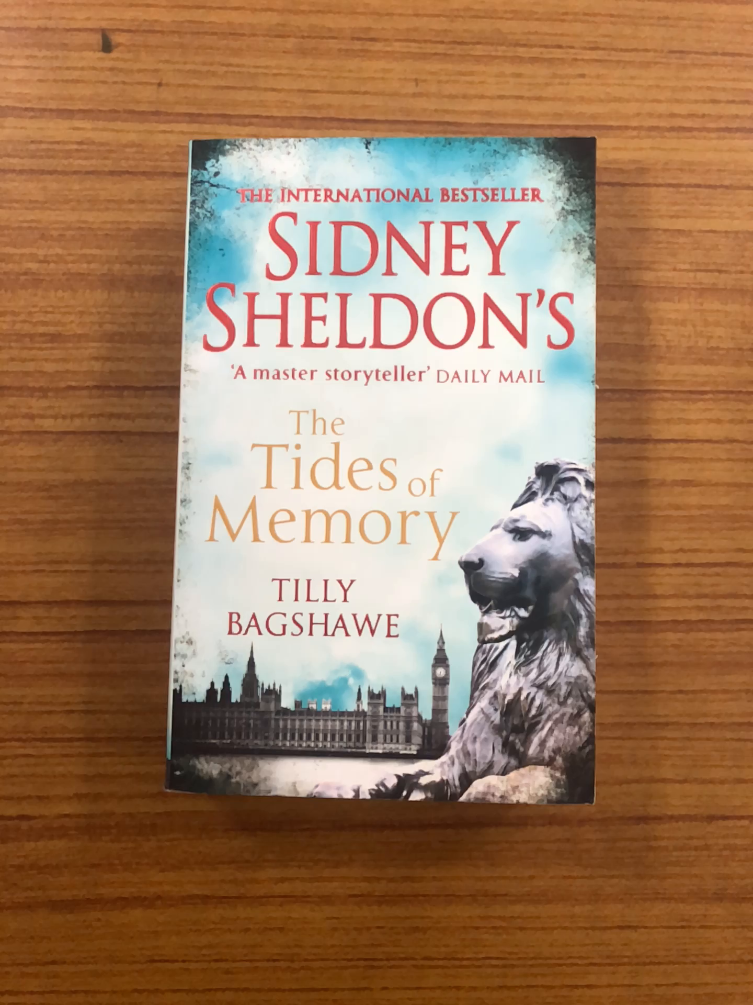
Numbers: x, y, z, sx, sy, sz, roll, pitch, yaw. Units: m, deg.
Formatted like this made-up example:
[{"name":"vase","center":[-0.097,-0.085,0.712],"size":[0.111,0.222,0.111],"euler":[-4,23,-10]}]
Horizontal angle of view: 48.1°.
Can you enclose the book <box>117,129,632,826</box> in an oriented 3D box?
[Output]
[{"name":"book","center":[0.001,-0.008,0.226],"size":[0.122,0.038,0.168],"euler":[1,86,2]}]
